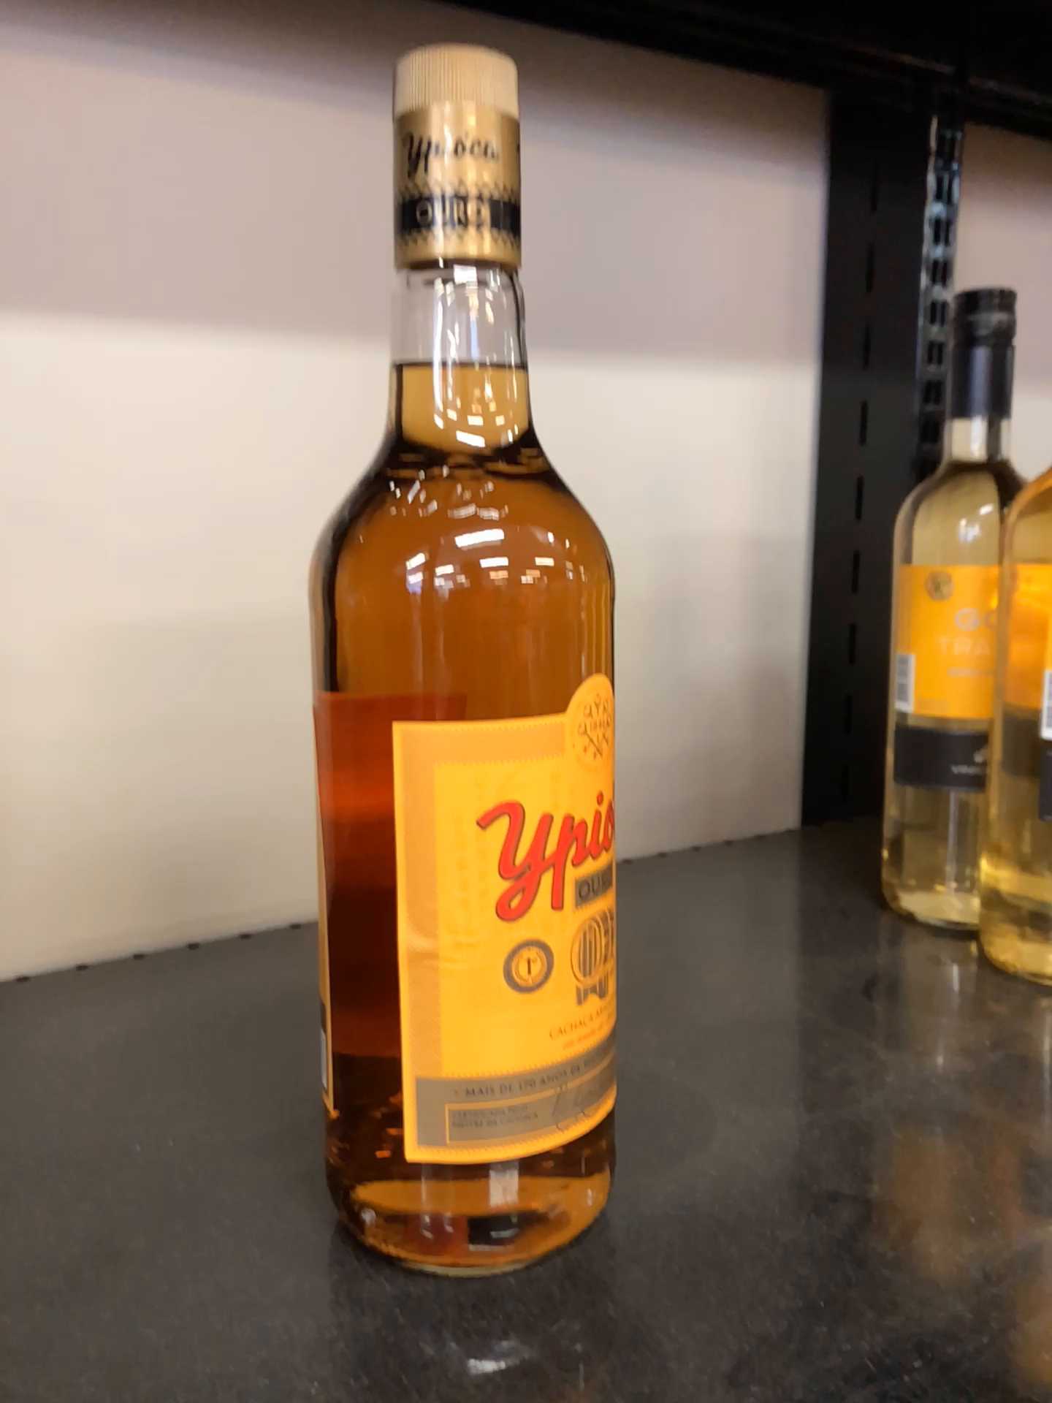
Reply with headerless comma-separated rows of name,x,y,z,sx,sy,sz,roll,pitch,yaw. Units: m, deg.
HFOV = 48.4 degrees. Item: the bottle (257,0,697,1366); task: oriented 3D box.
bottle,-0.013,-0.008,0.299,0.070,0.309,0.080,7,11,31
